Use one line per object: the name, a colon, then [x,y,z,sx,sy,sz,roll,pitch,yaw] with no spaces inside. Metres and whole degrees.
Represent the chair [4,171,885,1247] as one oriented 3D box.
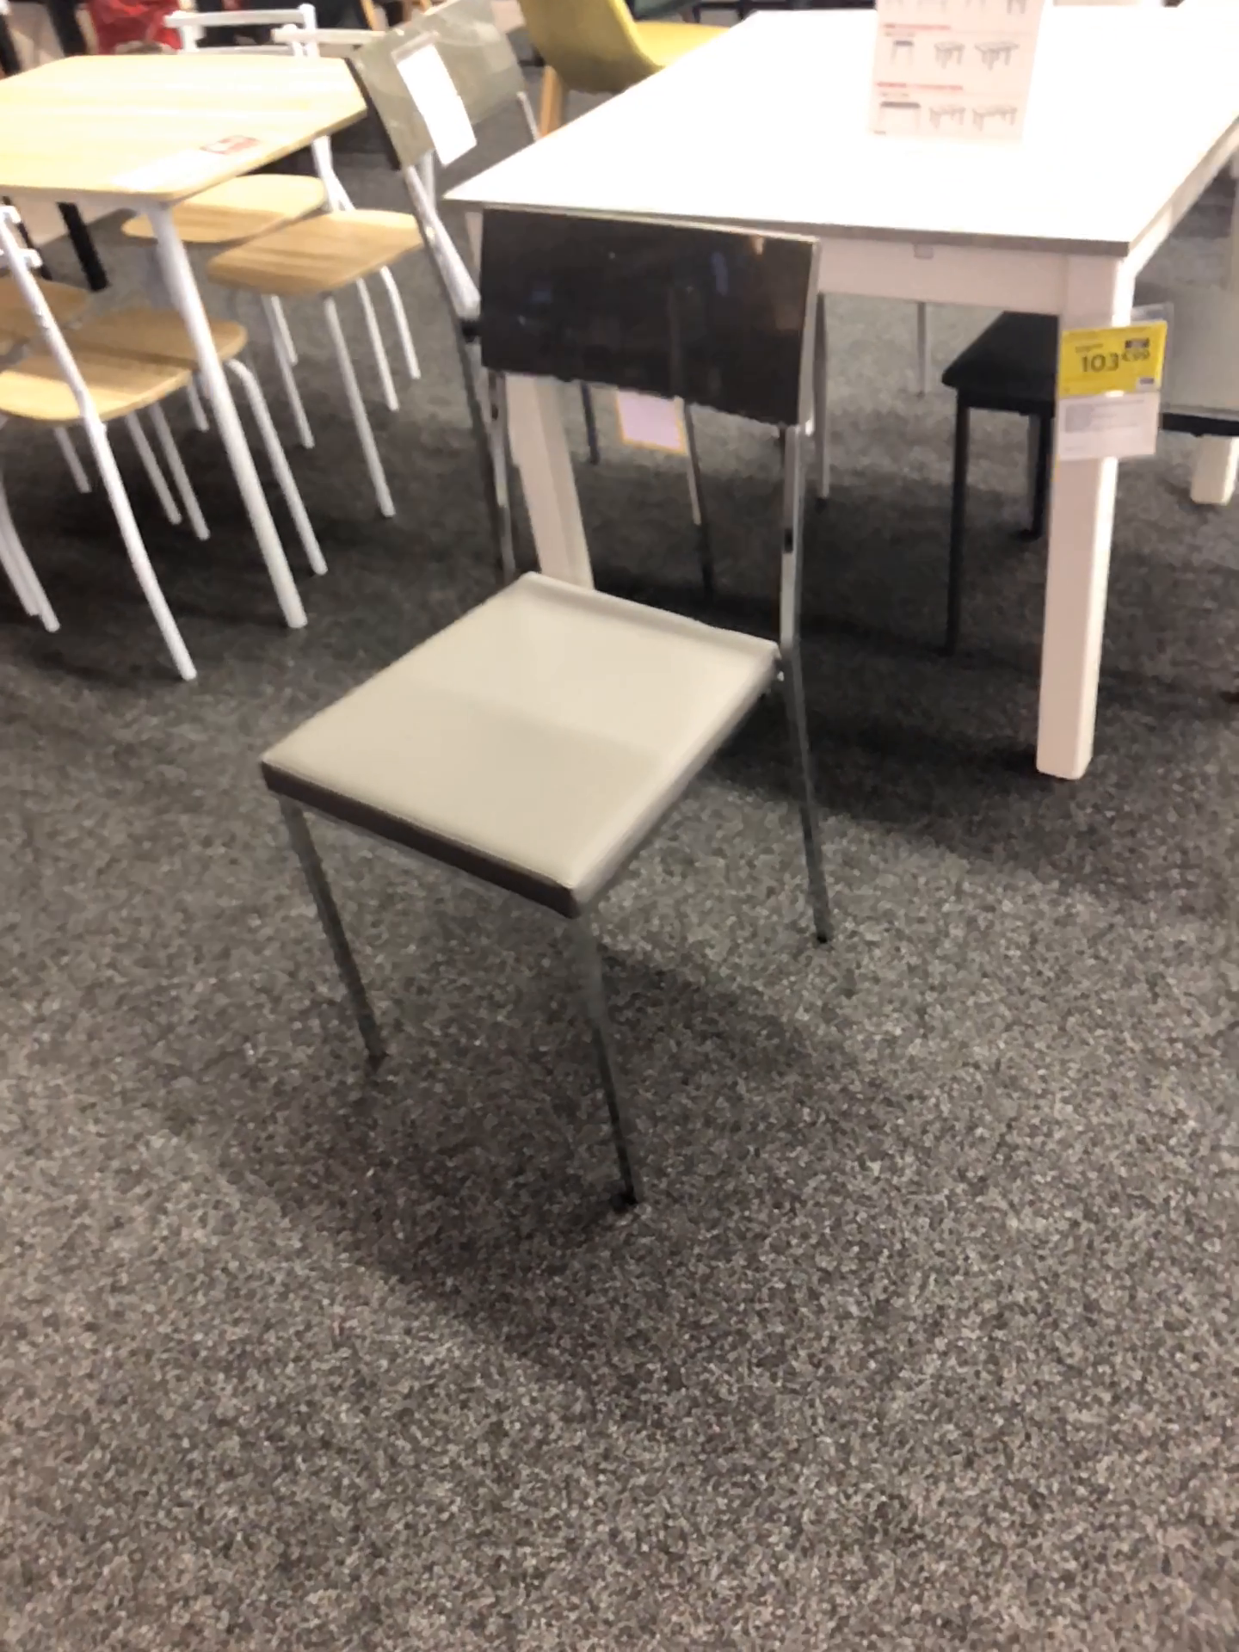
chair: [-0.083,-0.123,1.413,0.490,0.855,0.553,20,49,31]
